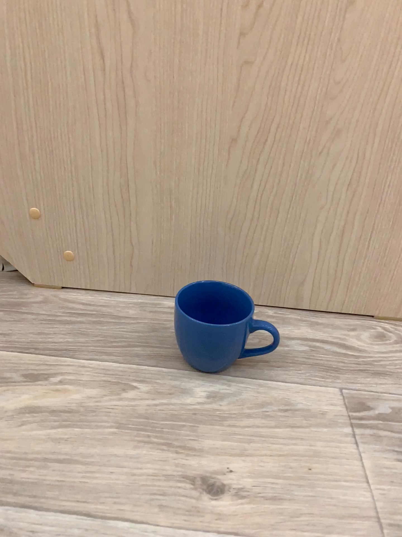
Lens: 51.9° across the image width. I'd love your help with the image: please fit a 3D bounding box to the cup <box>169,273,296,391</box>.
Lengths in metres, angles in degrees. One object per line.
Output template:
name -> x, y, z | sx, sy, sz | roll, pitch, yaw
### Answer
cup -> 0.034, 0.064, 0.439 | 0.117, 0.074, 0.078 | 8, 28, 6
